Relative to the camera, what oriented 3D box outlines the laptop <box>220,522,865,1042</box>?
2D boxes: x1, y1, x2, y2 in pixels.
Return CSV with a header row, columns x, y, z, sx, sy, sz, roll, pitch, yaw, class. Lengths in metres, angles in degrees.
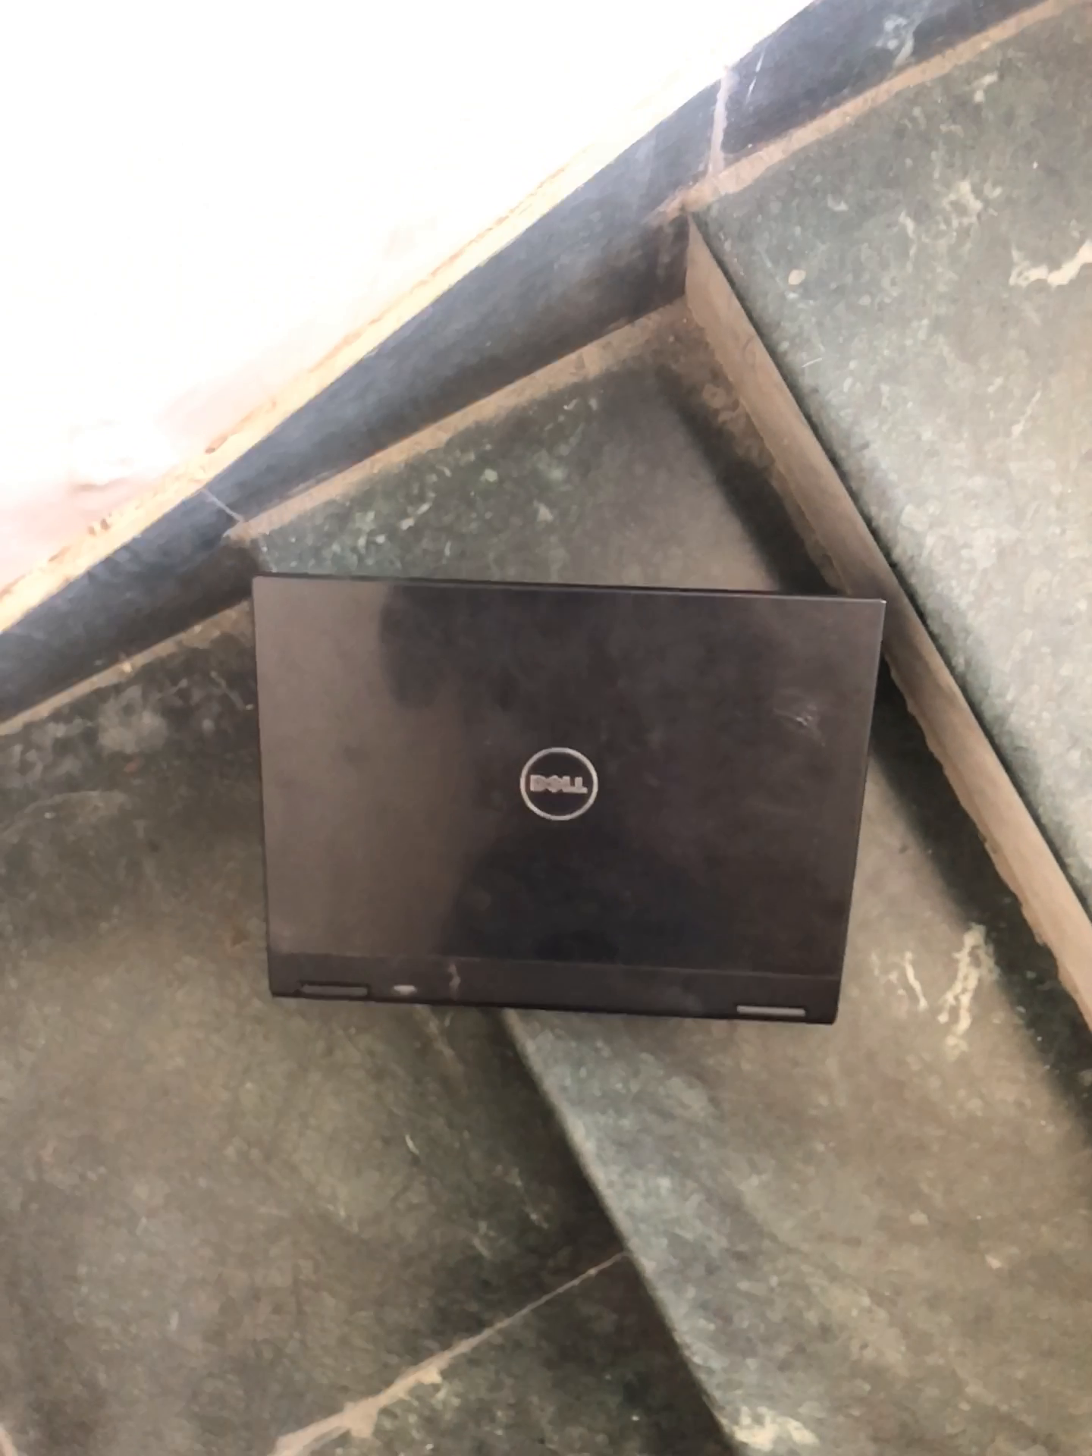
x,y,z,sx,sy,sz,roll,pitch,yaw,class
0.000,0.026,0.620,0.302,0.095,0.232,2,86,0,laptop
